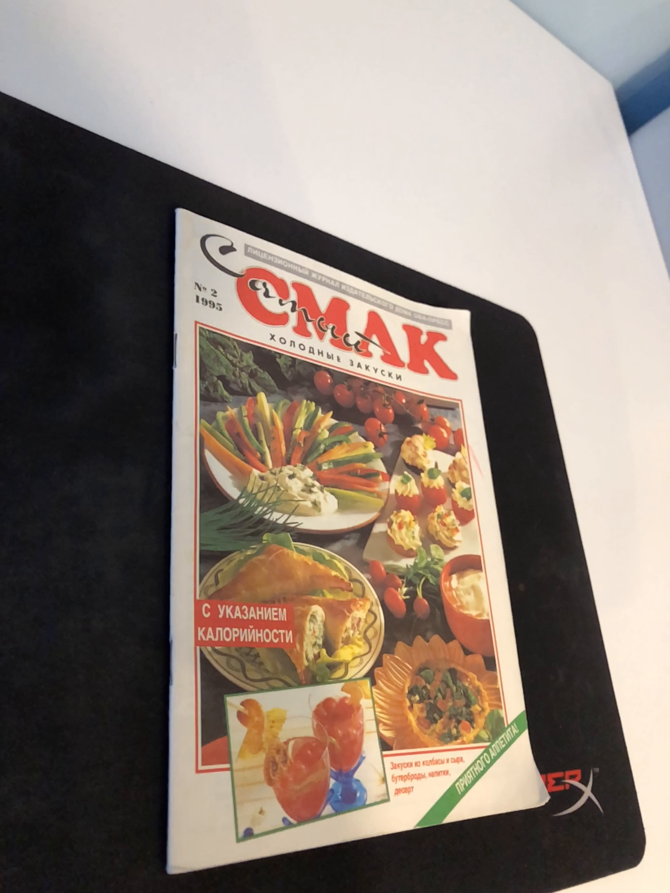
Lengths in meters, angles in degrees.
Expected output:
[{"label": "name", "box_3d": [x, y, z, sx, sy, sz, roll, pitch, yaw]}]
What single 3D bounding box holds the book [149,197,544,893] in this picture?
[{"label": "book", "box_3d": [0.007, 0.027, 0.290, 0.161, 0.010, 0.231, 12, 63, -36]}]
